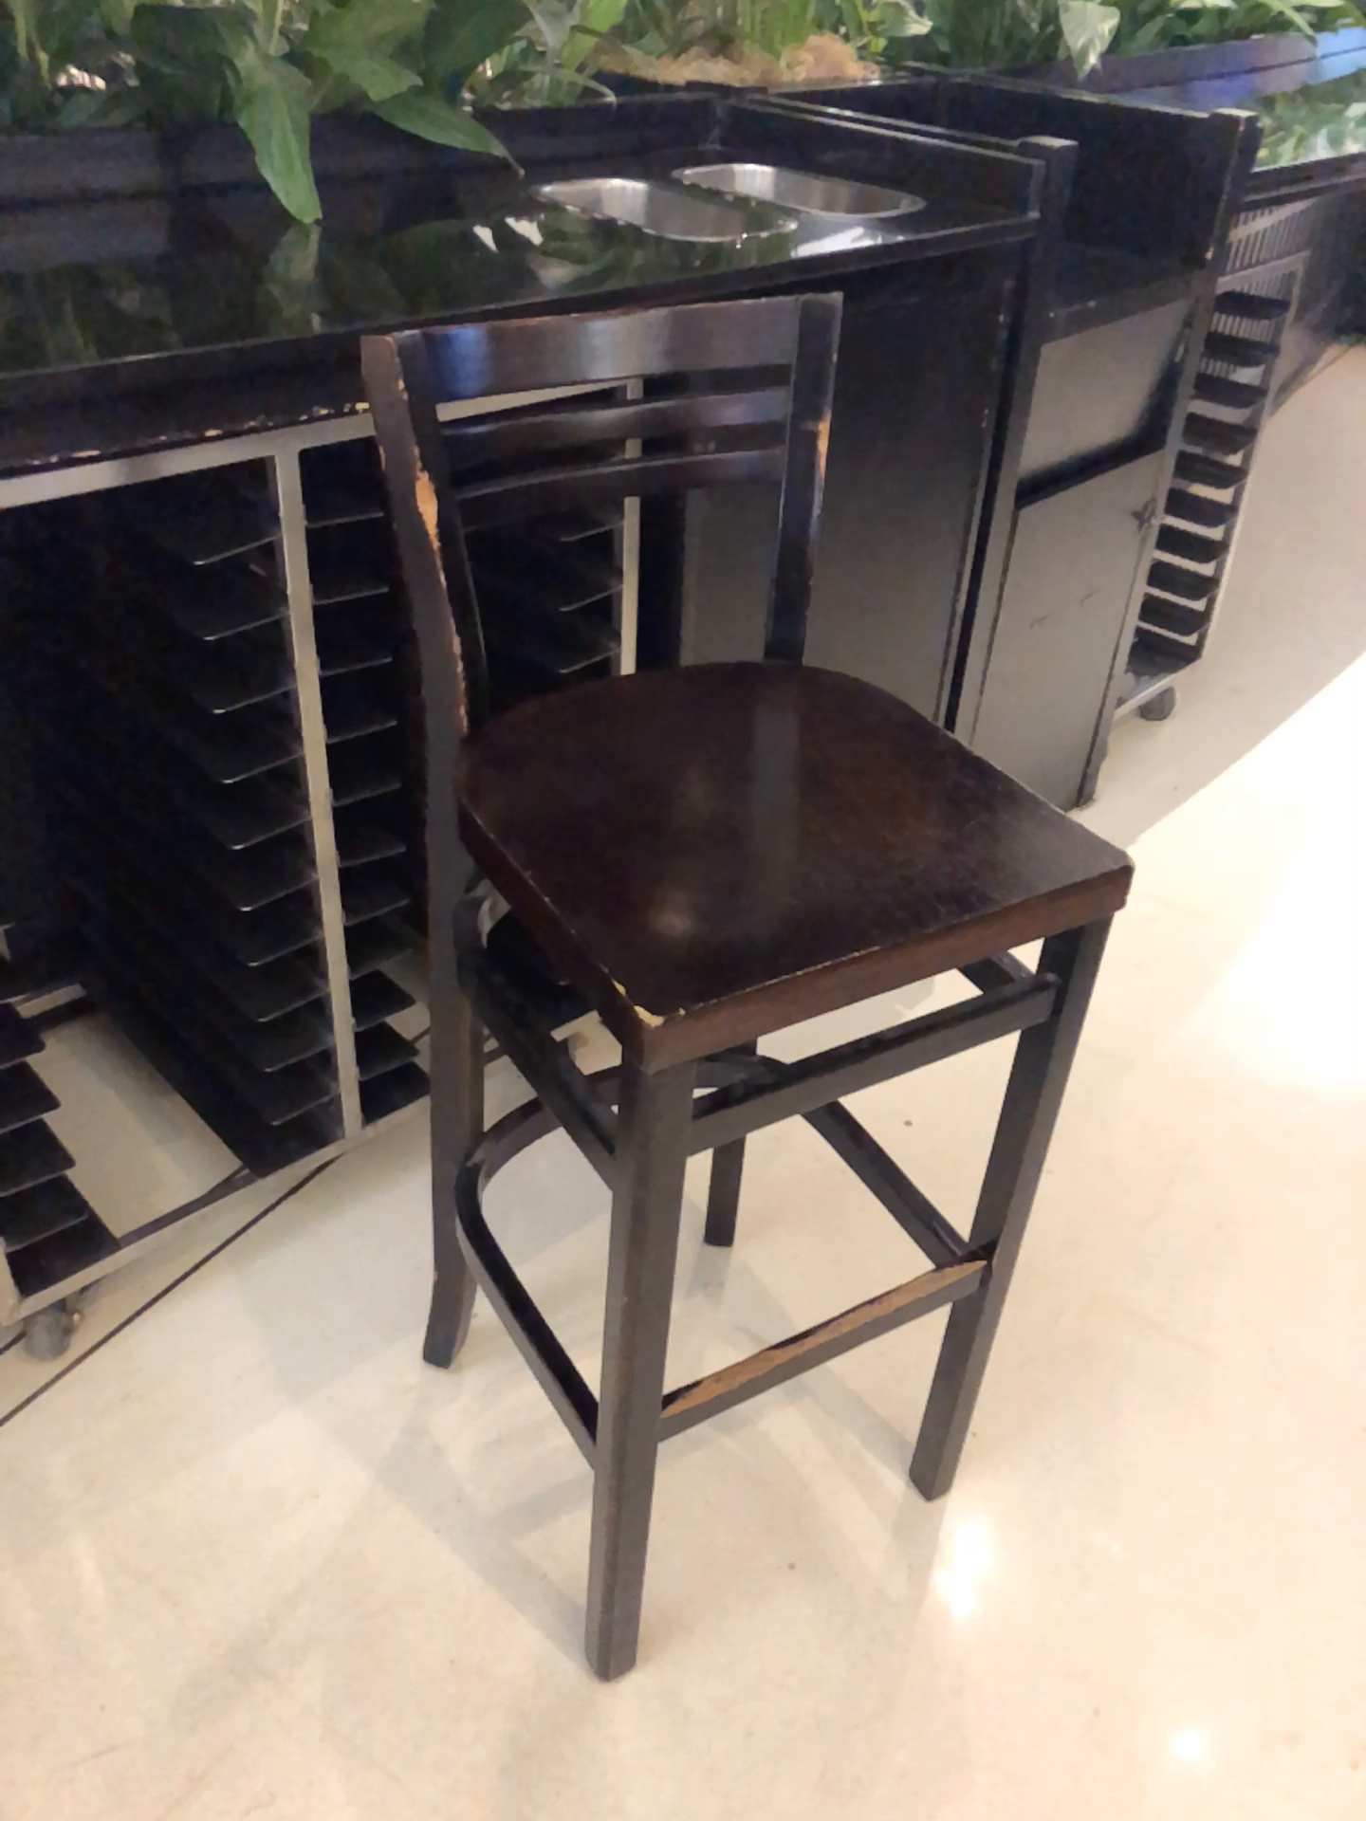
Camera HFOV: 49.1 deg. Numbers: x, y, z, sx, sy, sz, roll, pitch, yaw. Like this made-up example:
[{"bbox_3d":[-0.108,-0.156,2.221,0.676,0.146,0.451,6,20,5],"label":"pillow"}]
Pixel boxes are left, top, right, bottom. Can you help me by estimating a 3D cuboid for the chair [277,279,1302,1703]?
[{"bbox_3d":[0.025,0.061,1.156,0.441,0.913,0.452,-17,39,-27],"label":"chair"}]
